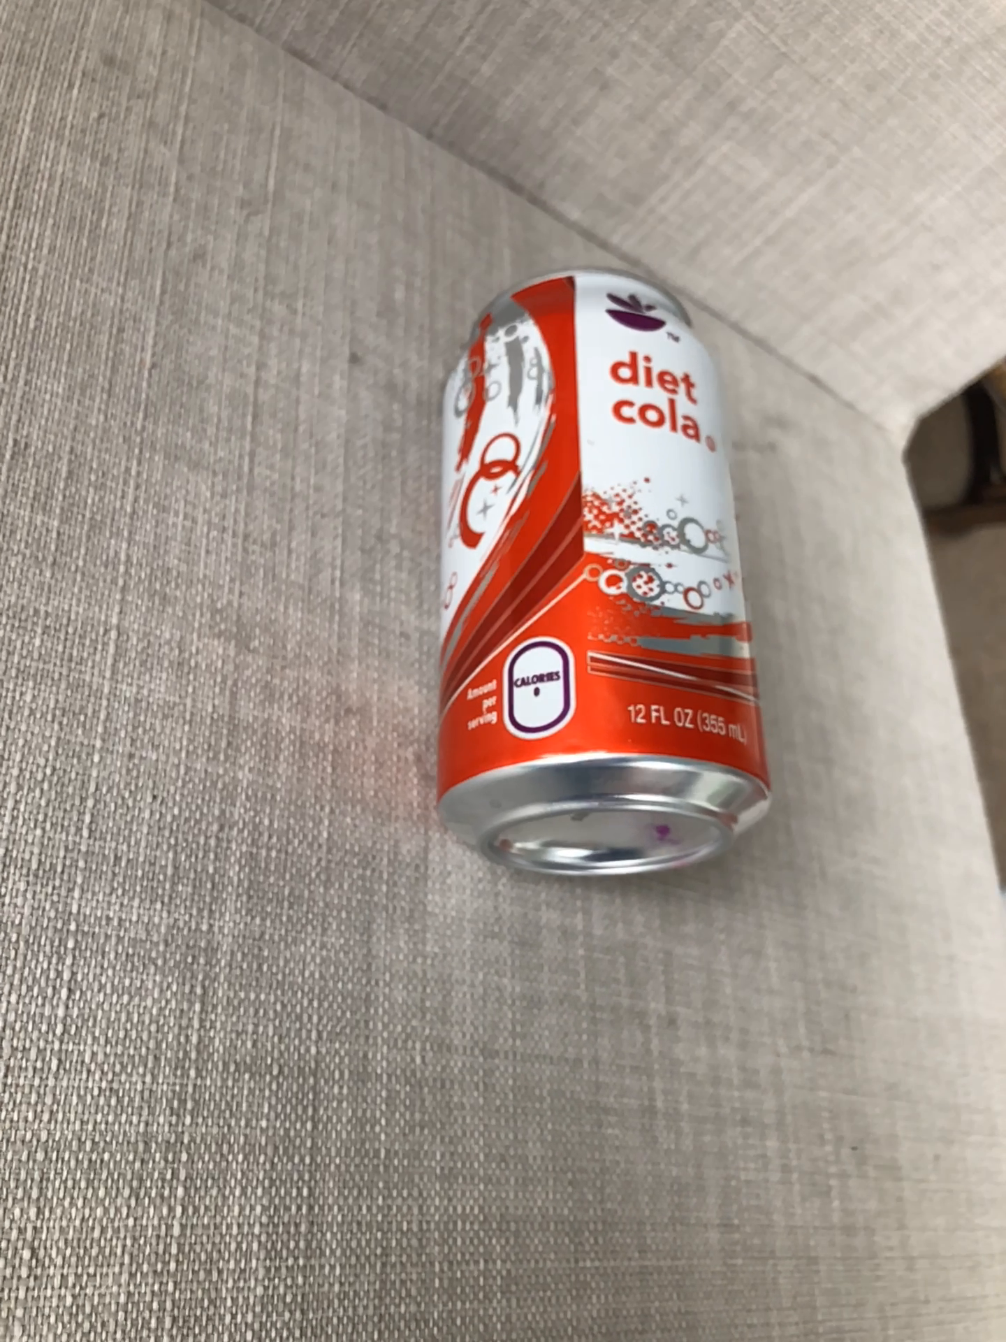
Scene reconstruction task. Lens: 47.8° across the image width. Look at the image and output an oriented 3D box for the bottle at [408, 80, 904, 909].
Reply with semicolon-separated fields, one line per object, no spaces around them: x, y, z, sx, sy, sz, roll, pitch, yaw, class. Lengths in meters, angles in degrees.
0.030;-0.032;0.242;0.070;0.062;0.149;17;63;-37;bottle
